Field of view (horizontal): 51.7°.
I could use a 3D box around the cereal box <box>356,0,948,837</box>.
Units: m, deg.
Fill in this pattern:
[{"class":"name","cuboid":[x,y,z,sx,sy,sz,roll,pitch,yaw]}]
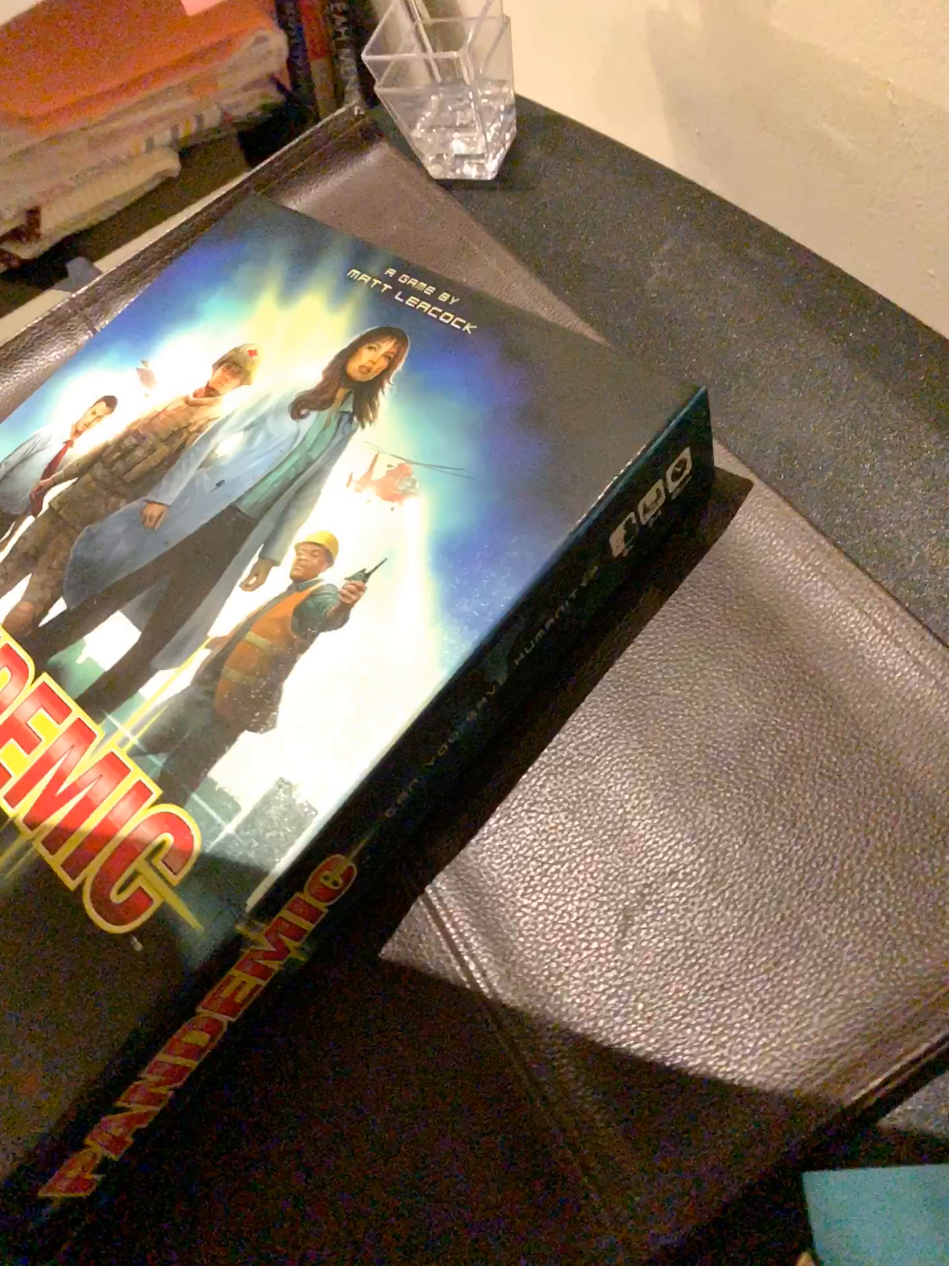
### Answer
[{"class":"cereal box","cuboid":[0.328,-0.188,1.140,0.471,0.995,0.511,3,63,20]}]
